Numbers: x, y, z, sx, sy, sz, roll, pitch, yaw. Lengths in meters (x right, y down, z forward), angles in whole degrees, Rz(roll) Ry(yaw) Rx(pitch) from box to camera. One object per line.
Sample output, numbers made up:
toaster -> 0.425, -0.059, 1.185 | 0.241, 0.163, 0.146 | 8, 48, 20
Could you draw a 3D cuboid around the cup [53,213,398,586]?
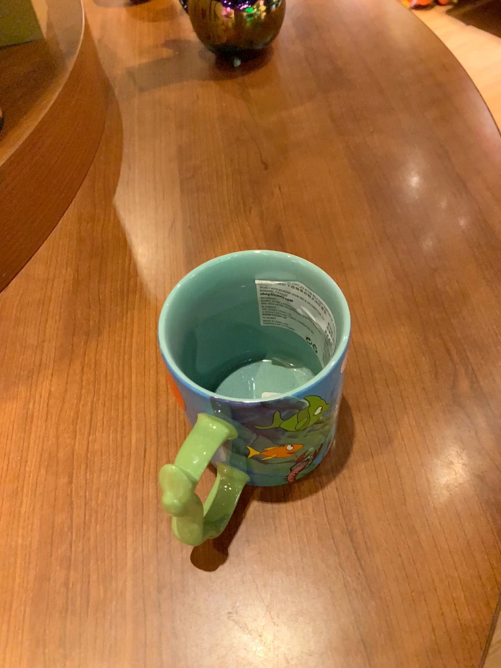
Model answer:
cup -> -0.003, 0.031, 0.268 | 0.091, 0.101, 0.135 | 27, 60, 22
